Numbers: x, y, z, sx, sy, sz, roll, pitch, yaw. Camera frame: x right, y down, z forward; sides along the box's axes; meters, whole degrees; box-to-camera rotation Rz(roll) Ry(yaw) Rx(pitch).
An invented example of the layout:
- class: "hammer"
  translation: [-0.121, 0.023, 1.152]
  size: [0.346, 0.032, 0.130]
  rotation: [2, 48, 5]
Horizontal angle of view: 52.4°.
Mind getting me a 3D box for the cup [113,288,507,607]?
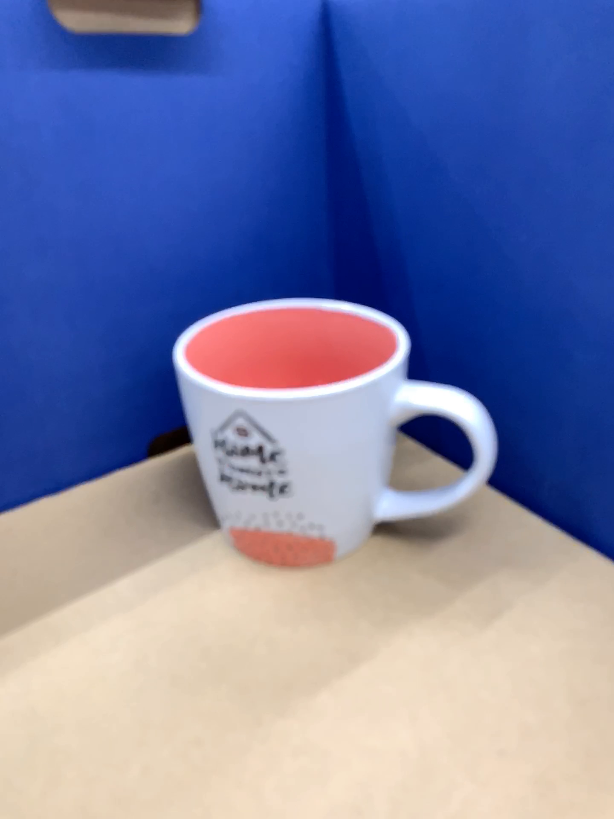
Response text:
- class: "cup"
  translation: [0.008, 0.005, 0.229]
  size: [0.115, 0.070, 0.083]
  rotation: [7, 29, 16]
